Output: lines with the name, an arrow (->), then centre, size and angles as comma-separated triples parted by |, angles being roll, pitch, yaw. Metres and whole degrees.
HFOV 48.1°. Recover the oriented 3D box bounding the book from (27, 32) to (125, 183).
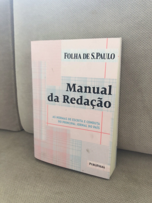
book -> -0.007, 0.007, 0.307 | 0.166, 0.228, 0.040 | 6, 11, 26
